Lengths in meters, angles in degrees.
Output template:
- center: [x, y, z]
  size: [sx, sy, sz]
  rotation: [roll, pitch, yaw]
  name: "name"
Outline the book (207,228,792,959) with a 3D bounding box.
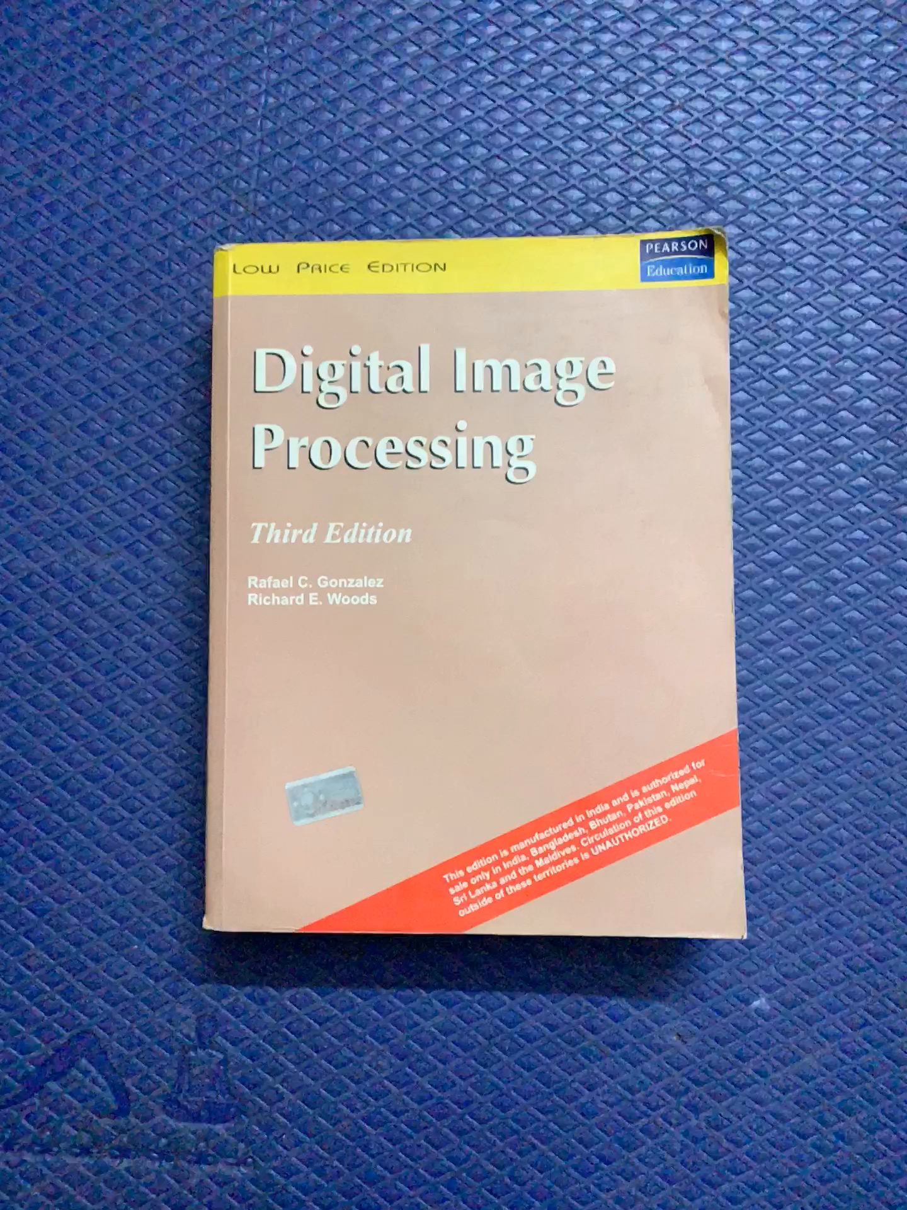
- center: [0.014, -0.006, 0.310]
  size: [0.174, 0.045, 0.225]
  rotation: [0, 86, 0]
  name: "book"
